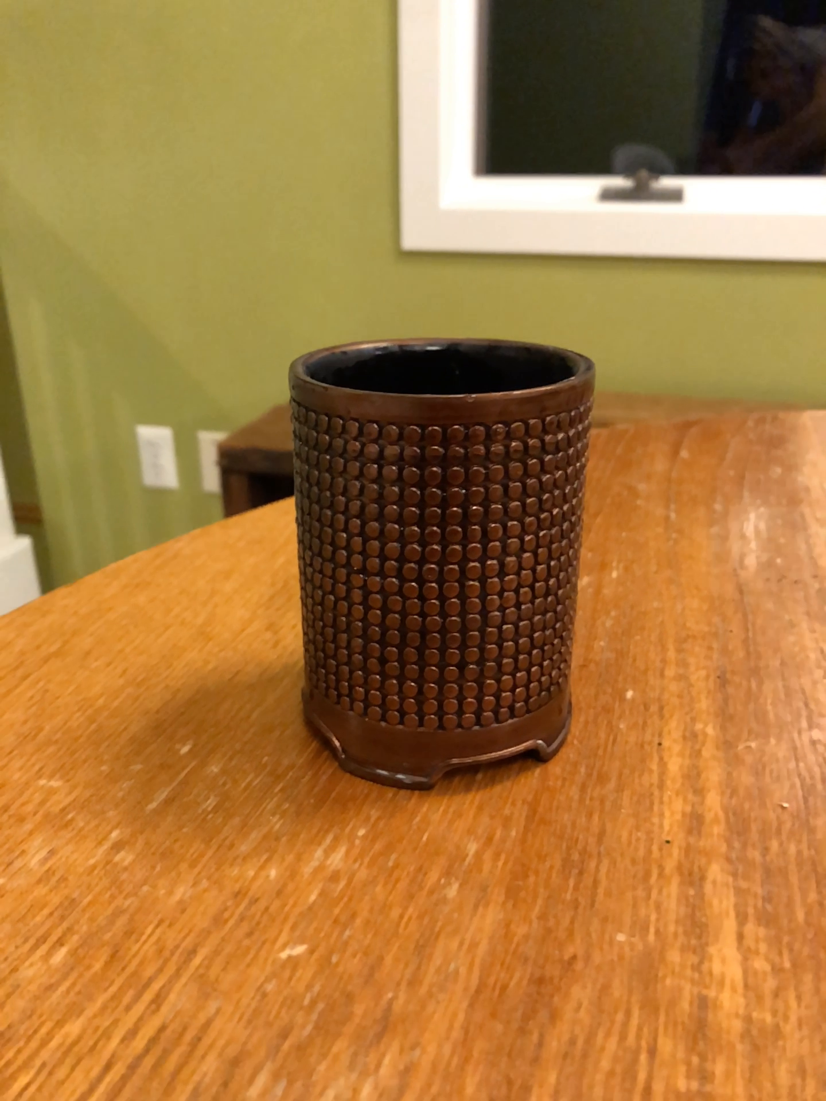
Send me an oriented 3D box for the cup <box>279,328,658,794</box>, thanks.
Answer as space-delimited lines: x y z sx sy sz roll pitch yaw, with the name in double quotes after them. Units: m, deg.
0.010 -0.002 0.238 0.077 0.097 0.073 0 22 0 "cup"
